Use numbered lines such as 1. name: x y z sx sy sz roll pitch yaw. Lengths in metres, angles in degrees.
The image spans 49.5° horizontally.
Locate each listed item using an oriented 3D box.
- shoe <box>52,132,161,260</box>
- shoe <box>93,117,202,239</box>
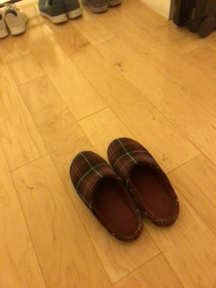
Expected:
1. shoe: -0.015 0.107 0.566 0.120 0.070 0.281 -30 55 -15
2. shoe: 0.081 0.068 0.581 0.120 0.070 0.281 -25 54 -11
